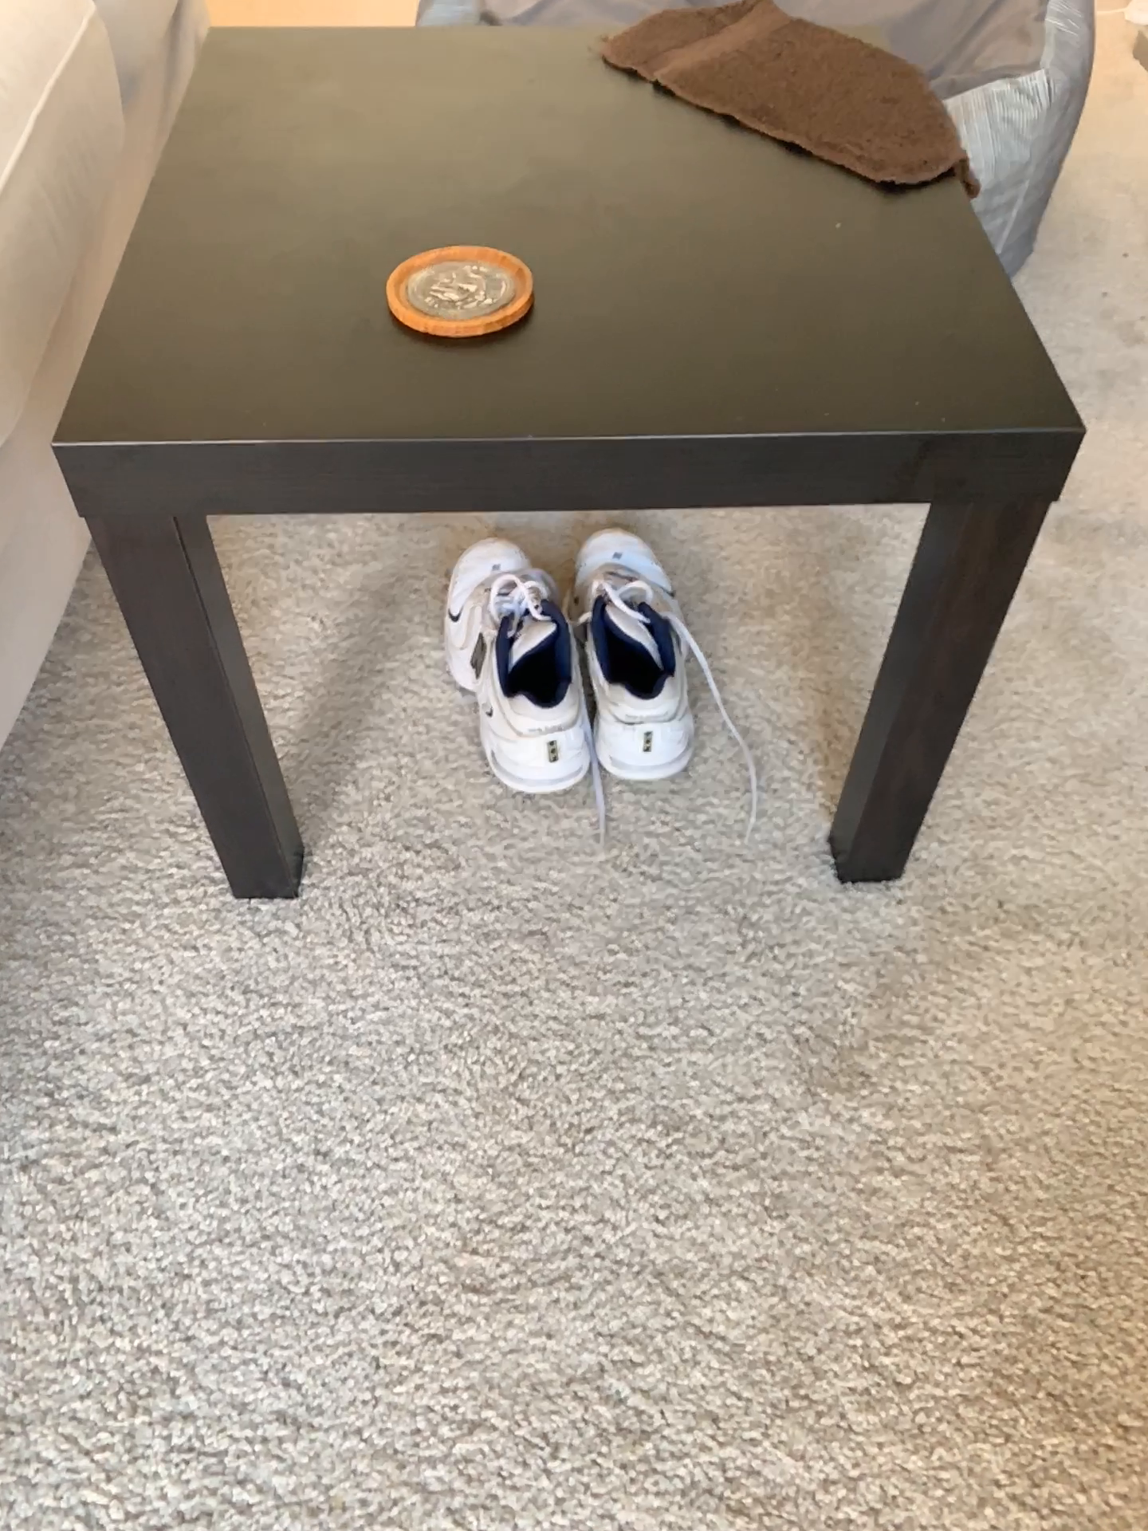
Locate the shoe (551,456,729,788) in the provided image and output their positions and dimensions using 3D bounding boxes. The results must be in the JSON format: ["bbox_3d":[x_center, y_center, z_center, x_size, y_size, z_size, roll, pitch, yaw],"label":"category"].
[{"bbox_3d":[0.048,-0.133,1.029,0.110,0.100,0.301,-4,51,-4],"label":"shoe"}]

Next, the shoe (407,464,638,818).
[{"bbox_3d":[-0.050,-0.114,0.997,0.110,0.100,0.301,-13,53,-11],"label":"shoe"}]
